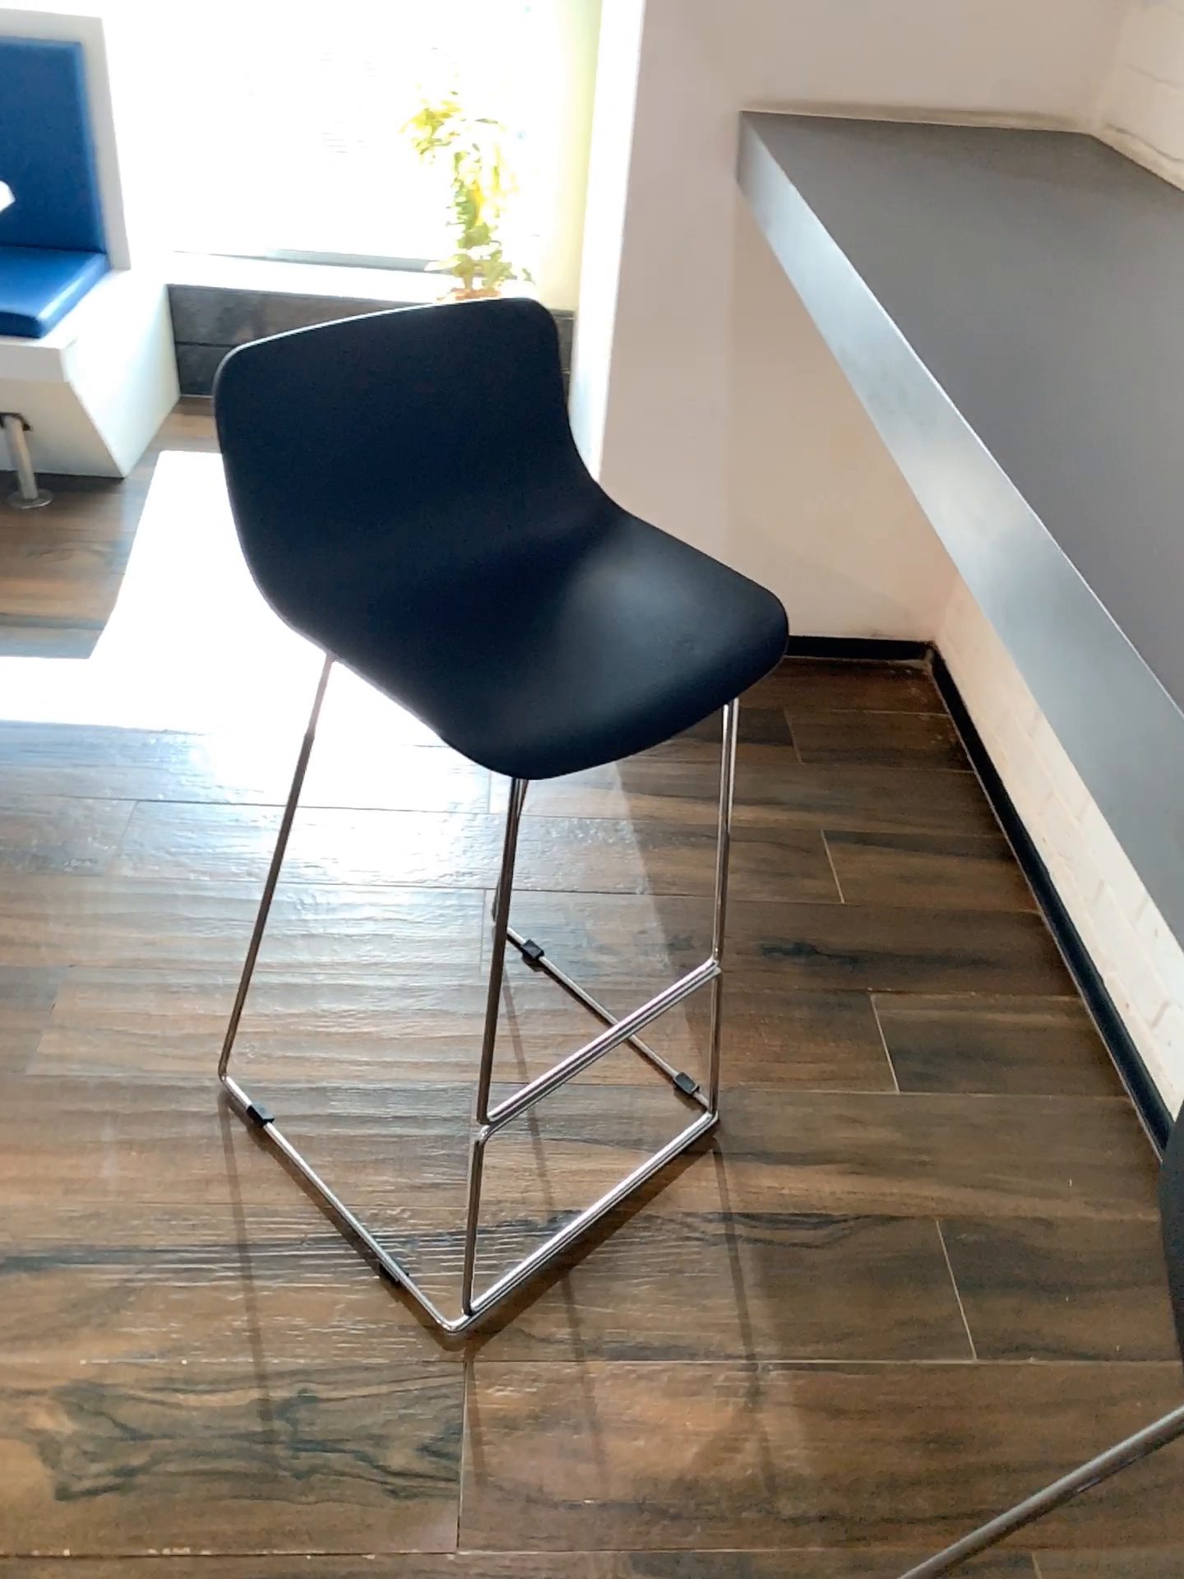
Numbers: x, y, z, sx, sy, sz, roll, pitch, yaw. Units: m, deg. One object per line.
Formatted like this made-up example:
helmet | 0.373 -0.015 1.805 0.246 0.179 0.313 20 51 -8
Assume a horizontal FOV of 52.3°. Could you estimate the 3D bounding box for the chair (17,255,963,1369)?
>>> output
chair | -0.119 -0.002 1.277 0.592 0.862 0.543 34 46 32
